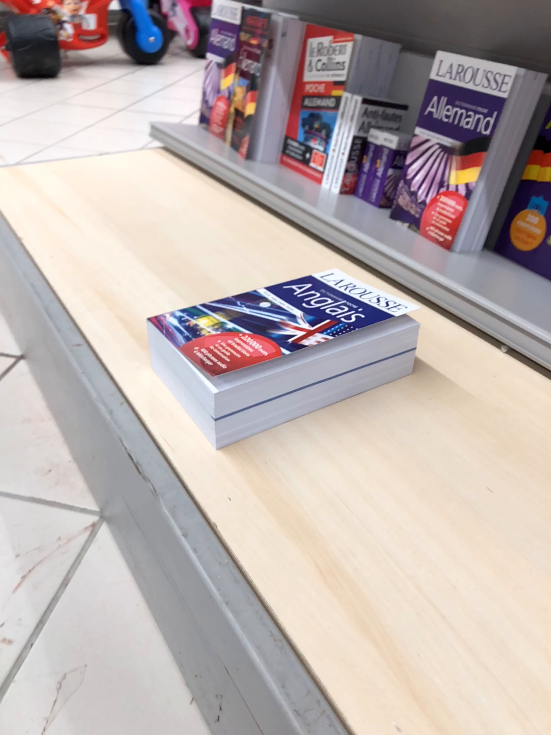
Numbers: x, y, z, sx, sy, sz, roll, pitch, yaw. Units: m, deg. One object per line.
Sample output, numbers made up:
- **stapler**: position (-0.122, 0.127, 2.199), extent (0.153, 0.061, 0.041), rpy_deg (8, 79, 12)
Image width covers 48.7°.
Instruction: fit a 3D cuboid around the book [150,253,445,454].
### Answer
- **book**: position (0.015, -0.021, 0.460), extent (0.181, 0.054, 0.117), rpy_deg (-18, 40, -26)
